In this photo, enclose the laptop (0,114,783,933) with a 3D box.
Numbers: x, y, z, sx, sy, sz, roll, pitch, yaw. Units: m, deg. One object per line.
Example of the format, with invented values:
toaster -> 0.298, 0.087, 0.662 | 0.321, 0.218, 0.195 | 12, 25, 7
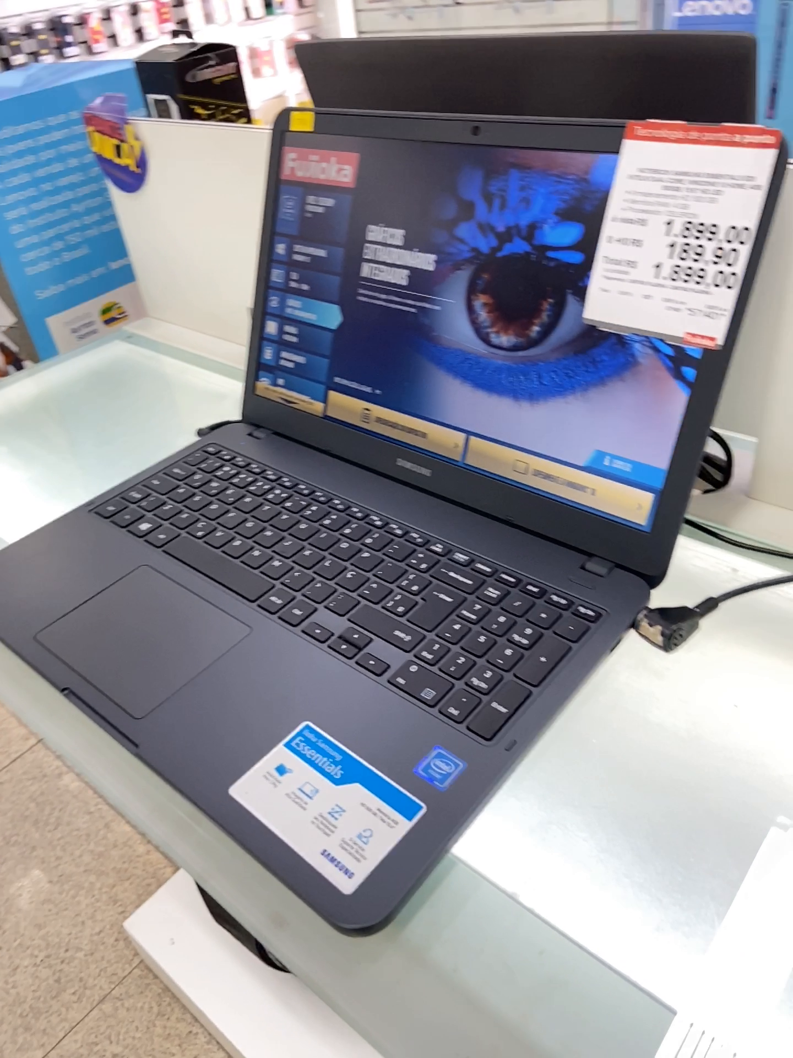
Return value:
laptop -> -0.051, -0.076, 0.458 | 0.367, 0.207, 0.347 | 23, 46, 36
